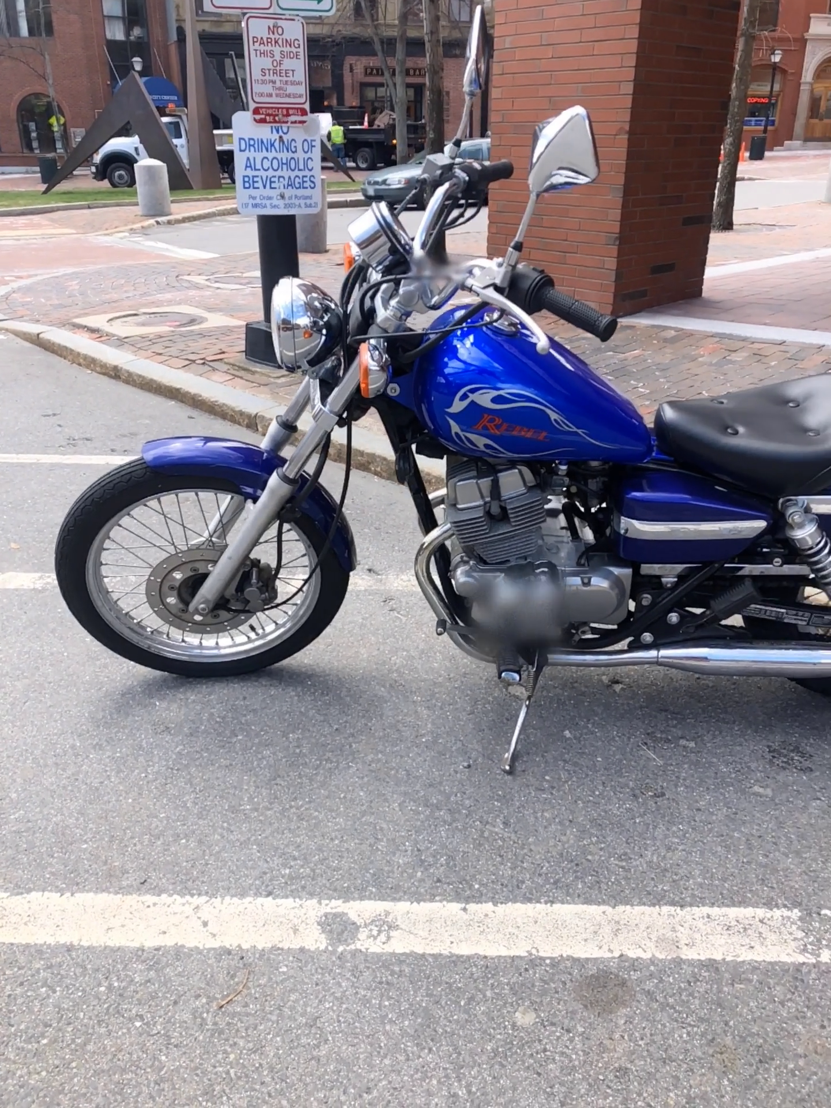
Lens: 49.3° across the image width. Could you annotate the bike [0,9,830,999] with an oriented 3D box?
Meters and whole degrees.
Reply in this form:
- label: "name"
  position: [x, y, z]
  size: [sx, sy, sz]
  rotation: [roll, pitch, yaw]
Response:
- label: "bike"
  position: [0.337, -0.094, 1.574]
  size: [2.025, 1.179, 0.930]
  rotation: [1, 24, -6]
